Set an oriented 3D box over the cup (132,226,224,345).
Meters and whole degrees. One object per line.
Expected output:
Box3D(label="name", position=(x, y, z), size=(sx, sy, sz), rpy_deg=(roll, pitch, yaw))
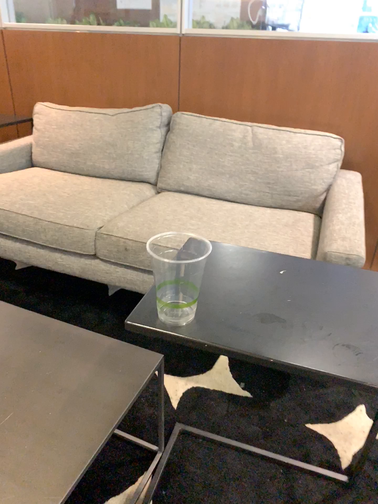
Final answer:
Box3D(label="cup", position=(-0.016, 0.047, 0.595), size=(0.100, 0.129, 0.100), rpy_deg=(2, 28, -1))
